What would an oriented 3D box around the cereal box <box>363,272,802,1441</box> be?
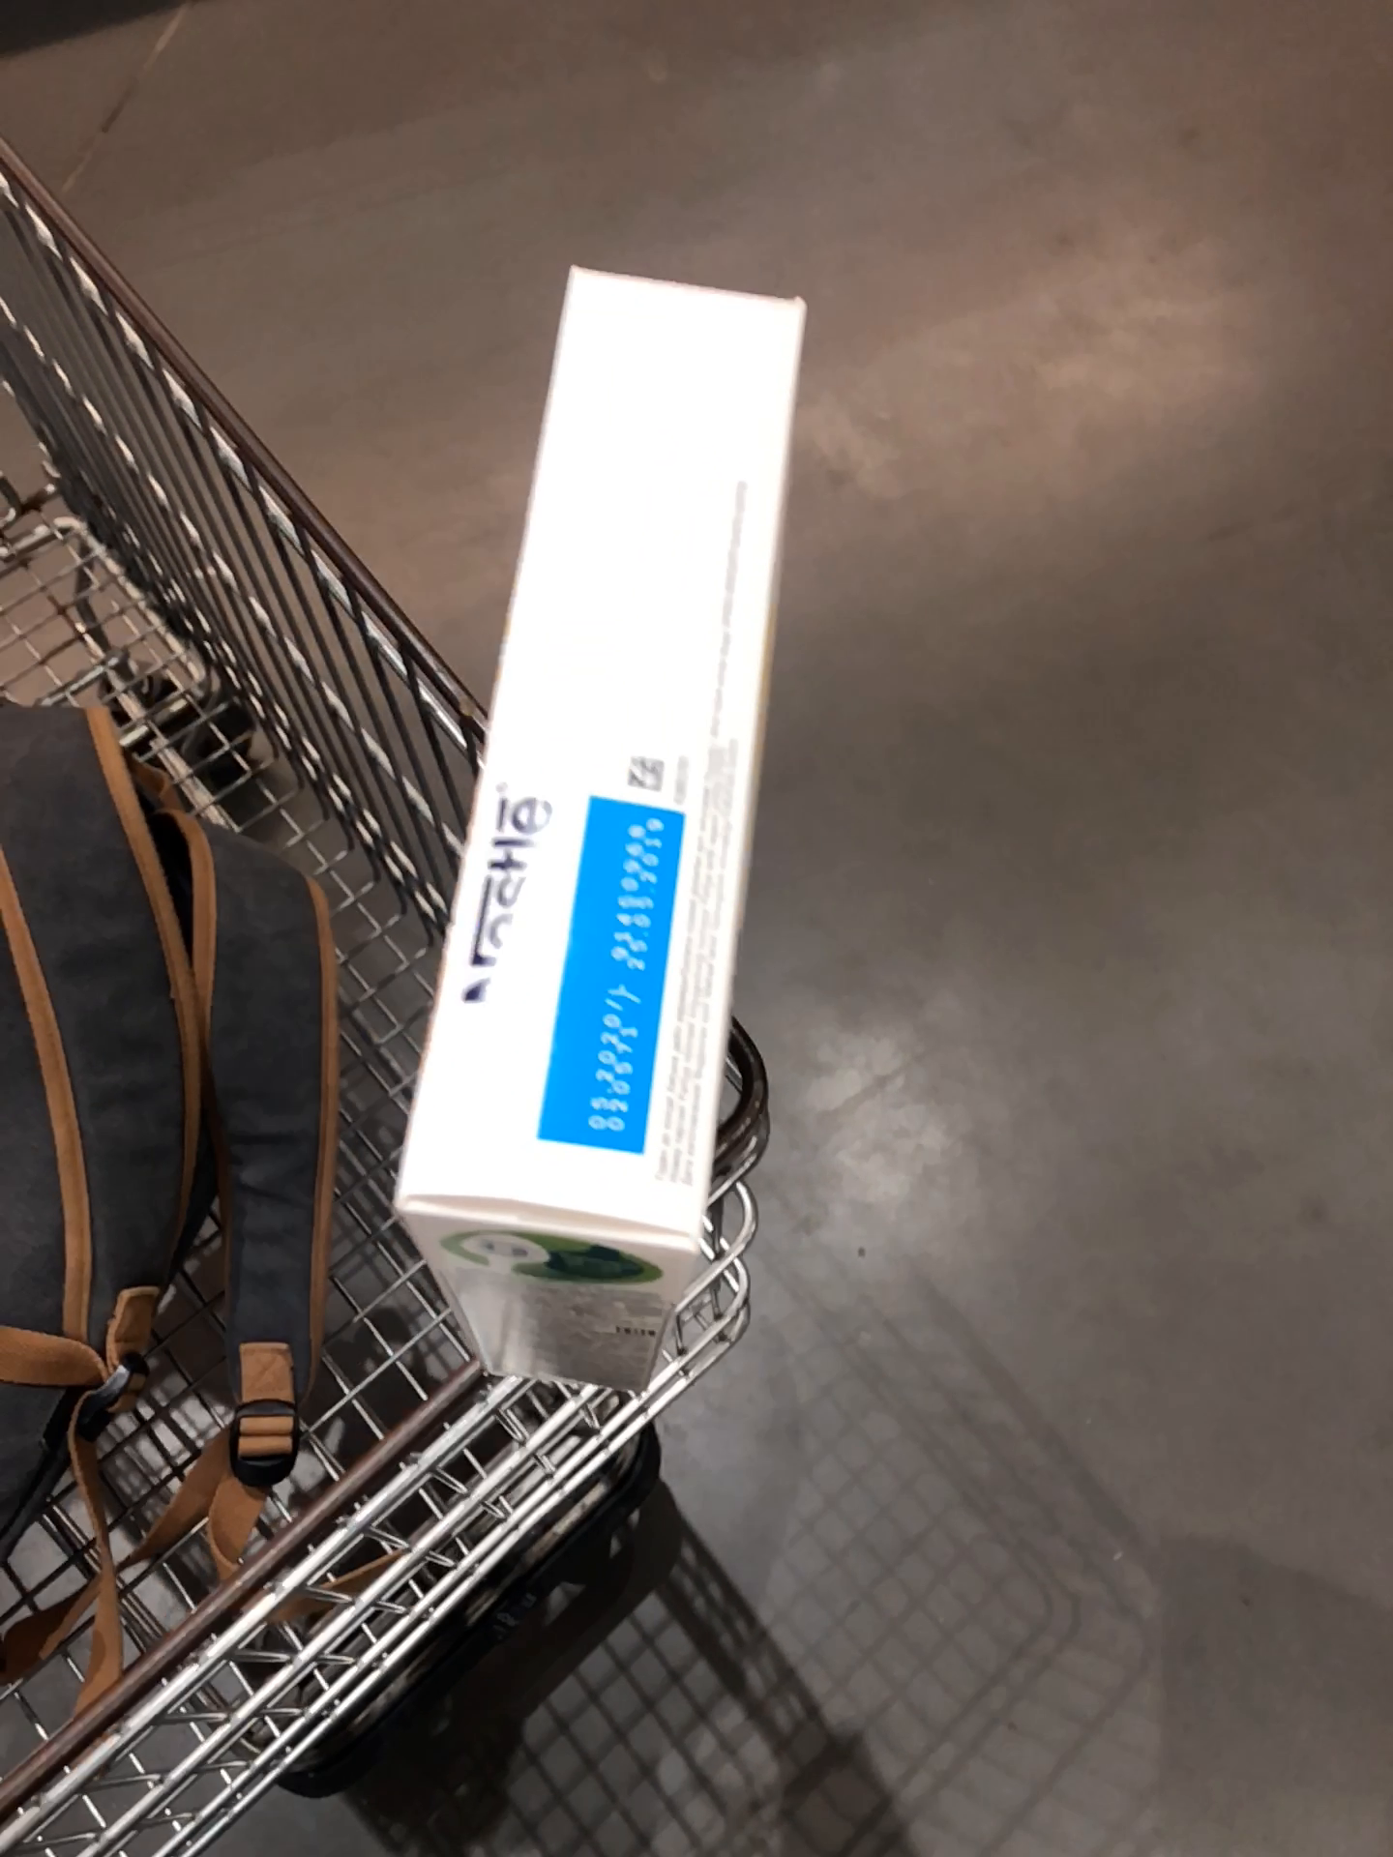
[{"bbox_3d":[-0.020,0.007,0.372,0.050,0.229,0.201,7,67,0],"label":"cereal box"}]
